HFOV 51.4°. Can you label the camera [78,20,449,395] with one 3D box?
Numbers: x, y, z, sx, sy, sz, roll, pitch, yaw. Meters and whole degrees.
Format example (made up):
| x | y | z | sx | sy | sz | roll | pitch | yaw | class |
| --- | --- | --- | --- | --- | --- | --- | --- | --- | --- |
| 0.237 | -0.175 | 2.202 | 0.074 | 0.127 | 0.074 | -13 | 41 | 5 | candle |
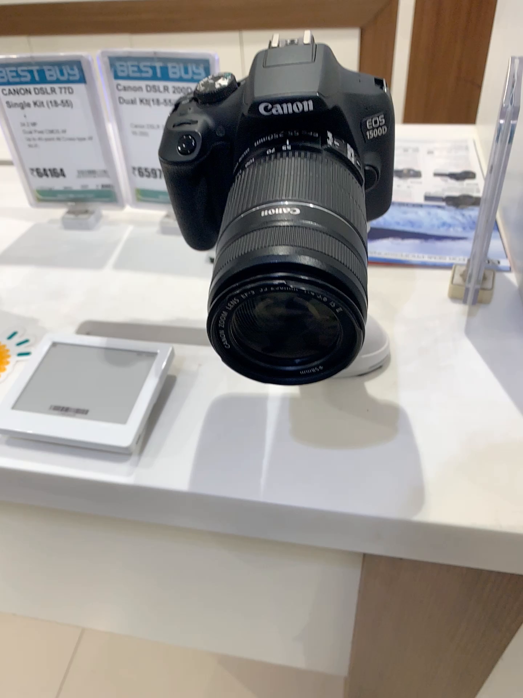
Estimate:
| x | y | z | sx | sy | sz | roll | pitch | yaw | class |
| --- | --- | --- | --- | --- | --- | --- | --- | --- | --- |
| 0.007 | -0.072 | 0.258 | 0.117 | 0.090 | 0.164 | 0 | 50 | 5 | camera |
